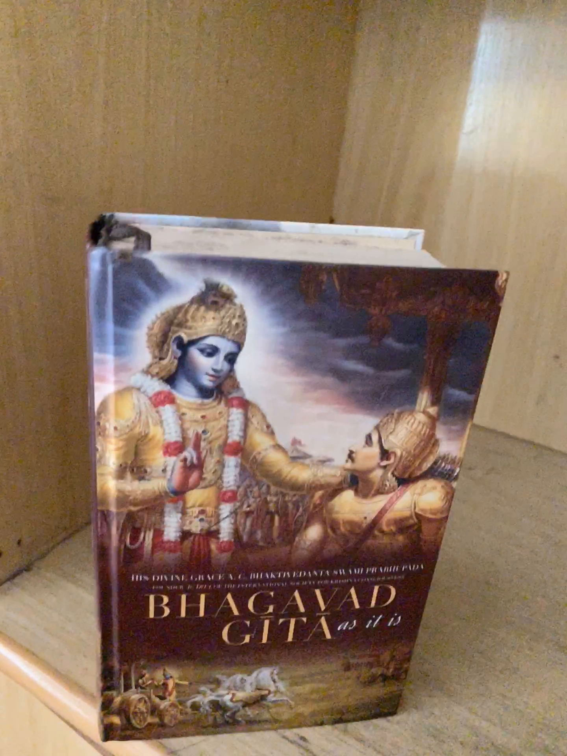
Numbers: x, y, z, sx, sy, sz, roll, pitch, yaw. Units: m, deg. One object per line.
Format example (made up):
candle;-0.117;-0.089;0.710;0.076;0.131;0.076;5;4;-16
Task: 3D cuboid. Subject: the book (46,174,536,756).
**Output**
book;-0.008;0.042;0.239;0.140;0.219;0.070;2;22;-10
